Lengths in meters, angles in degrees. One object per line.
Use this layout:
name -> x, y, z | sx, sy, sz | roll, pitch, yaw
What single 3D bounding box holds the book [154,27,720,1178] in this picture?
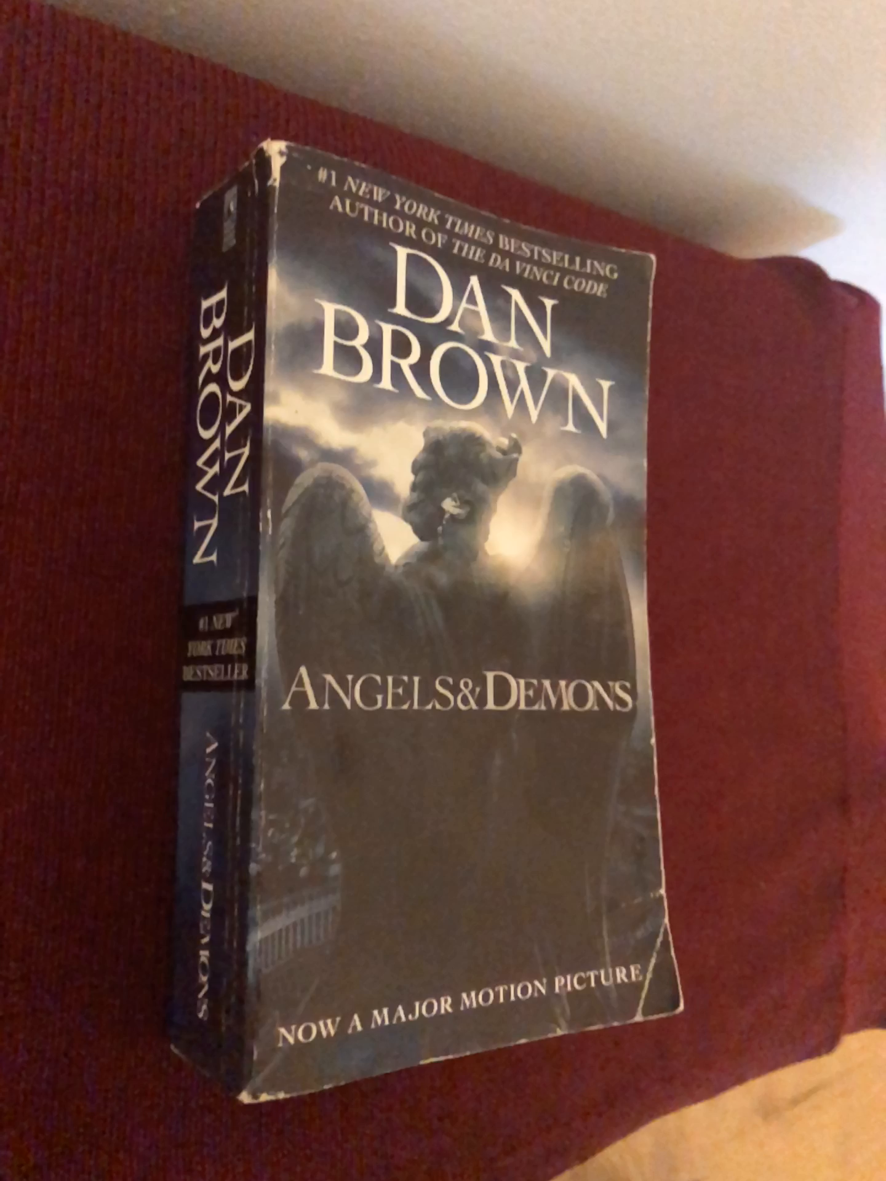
book -> 0.002, 0.000, 0.228 | 0.120, 0.040, 0.210 | 4, 82, -32
